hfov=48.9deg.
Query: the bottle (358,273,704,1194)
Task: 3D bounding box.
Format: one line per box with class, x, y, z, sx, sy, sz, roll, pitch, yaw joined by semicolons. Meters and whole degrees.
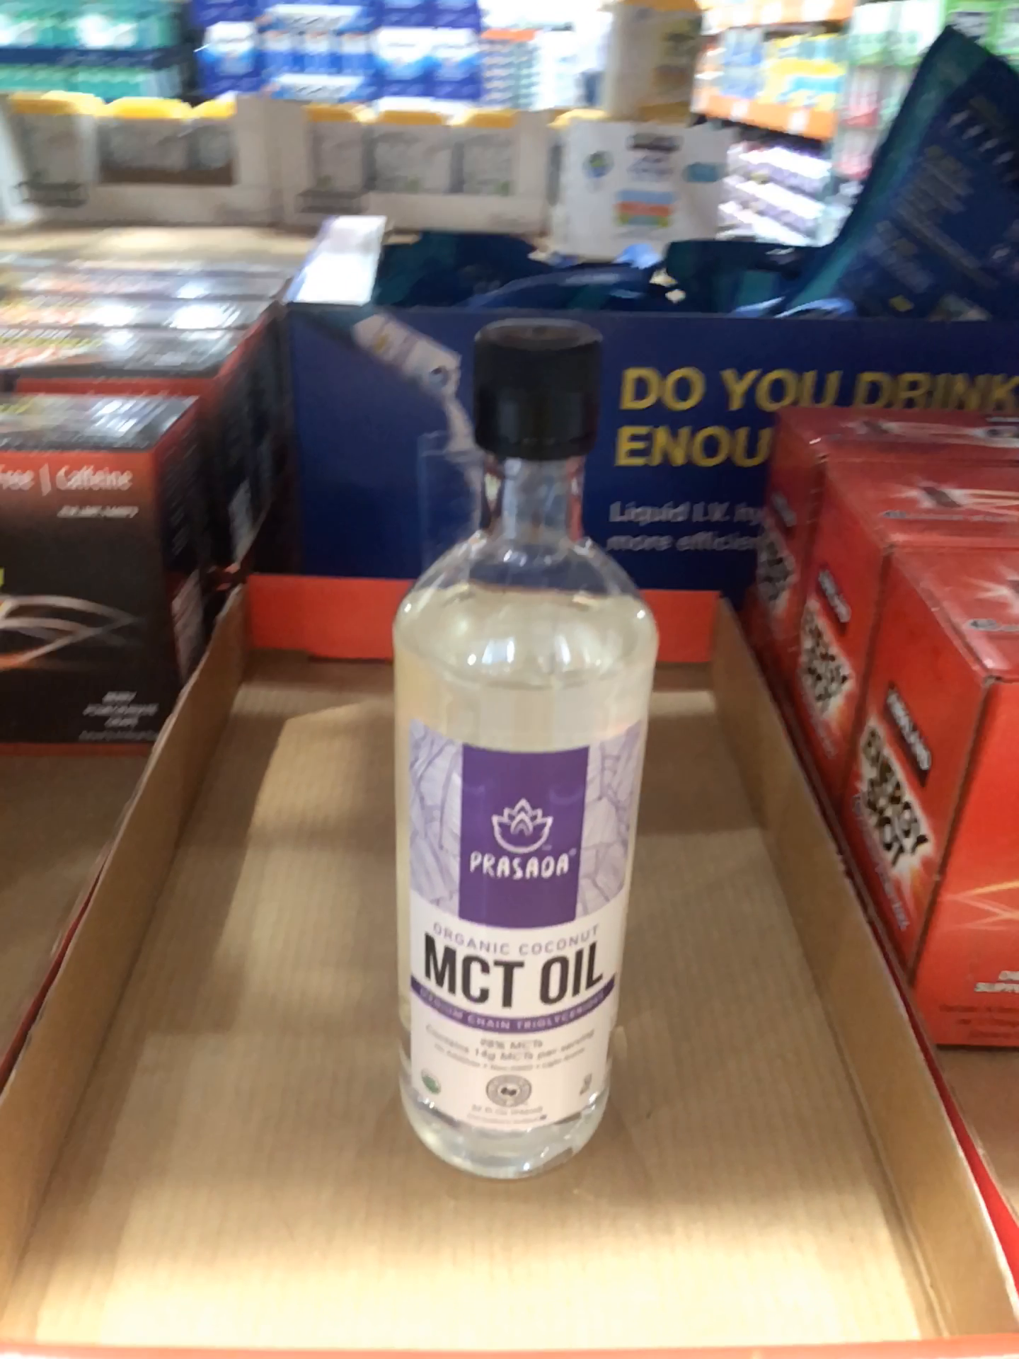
bottle;0.000;0.032;0.355;0.077;0.290;0.080;2;29;-1
